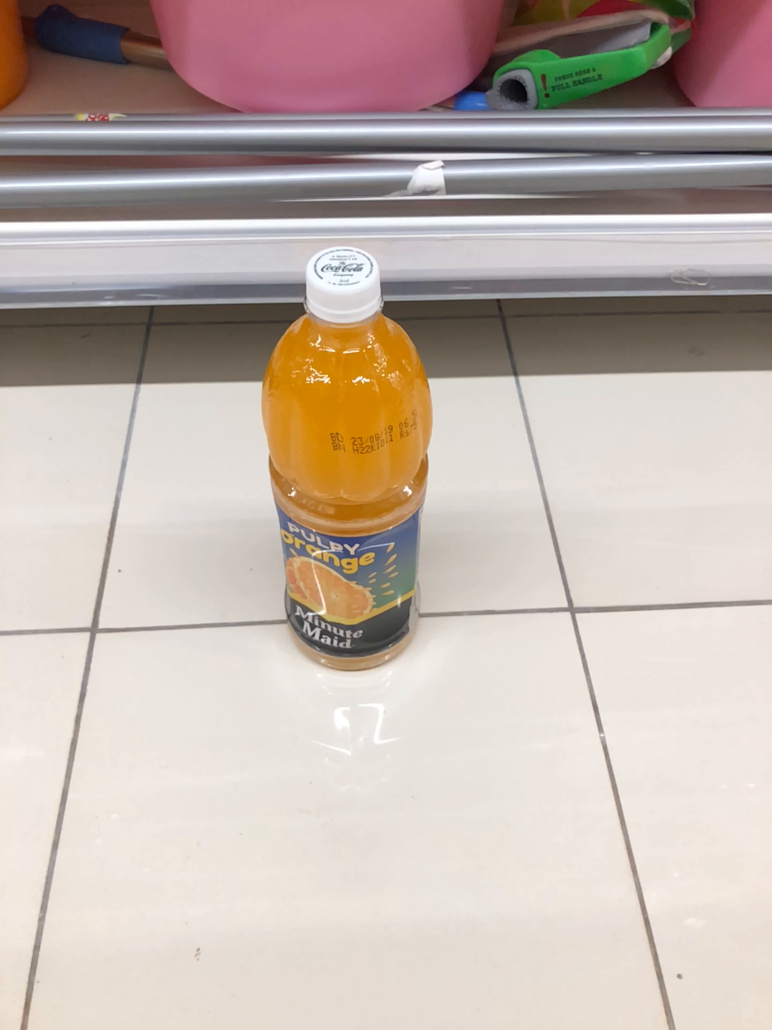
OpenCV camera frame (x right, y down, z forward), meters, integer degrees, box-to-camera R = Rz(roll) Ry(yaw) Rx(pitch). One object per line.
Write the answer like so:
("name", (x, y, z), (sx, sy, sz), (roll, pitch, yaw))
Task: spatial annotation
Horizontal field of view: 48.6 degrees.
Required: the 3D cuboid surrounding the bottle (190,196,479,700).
("bottle", (-0.019, -0.017, 0.431), (0.090, 0.245, 0.091), (1, 50, -1))
